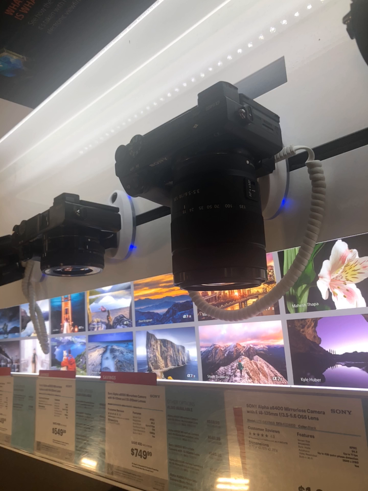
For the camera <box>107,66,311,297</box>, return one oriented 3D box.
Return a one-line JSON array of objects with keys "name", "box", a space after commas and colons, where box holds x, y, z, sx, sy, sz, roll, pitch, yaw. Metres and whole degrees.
[{"name": "camera", "box": [0.011, -0.032, 0.306, 0.131, 0.070, 0.130, -13, 76, 43]}]
